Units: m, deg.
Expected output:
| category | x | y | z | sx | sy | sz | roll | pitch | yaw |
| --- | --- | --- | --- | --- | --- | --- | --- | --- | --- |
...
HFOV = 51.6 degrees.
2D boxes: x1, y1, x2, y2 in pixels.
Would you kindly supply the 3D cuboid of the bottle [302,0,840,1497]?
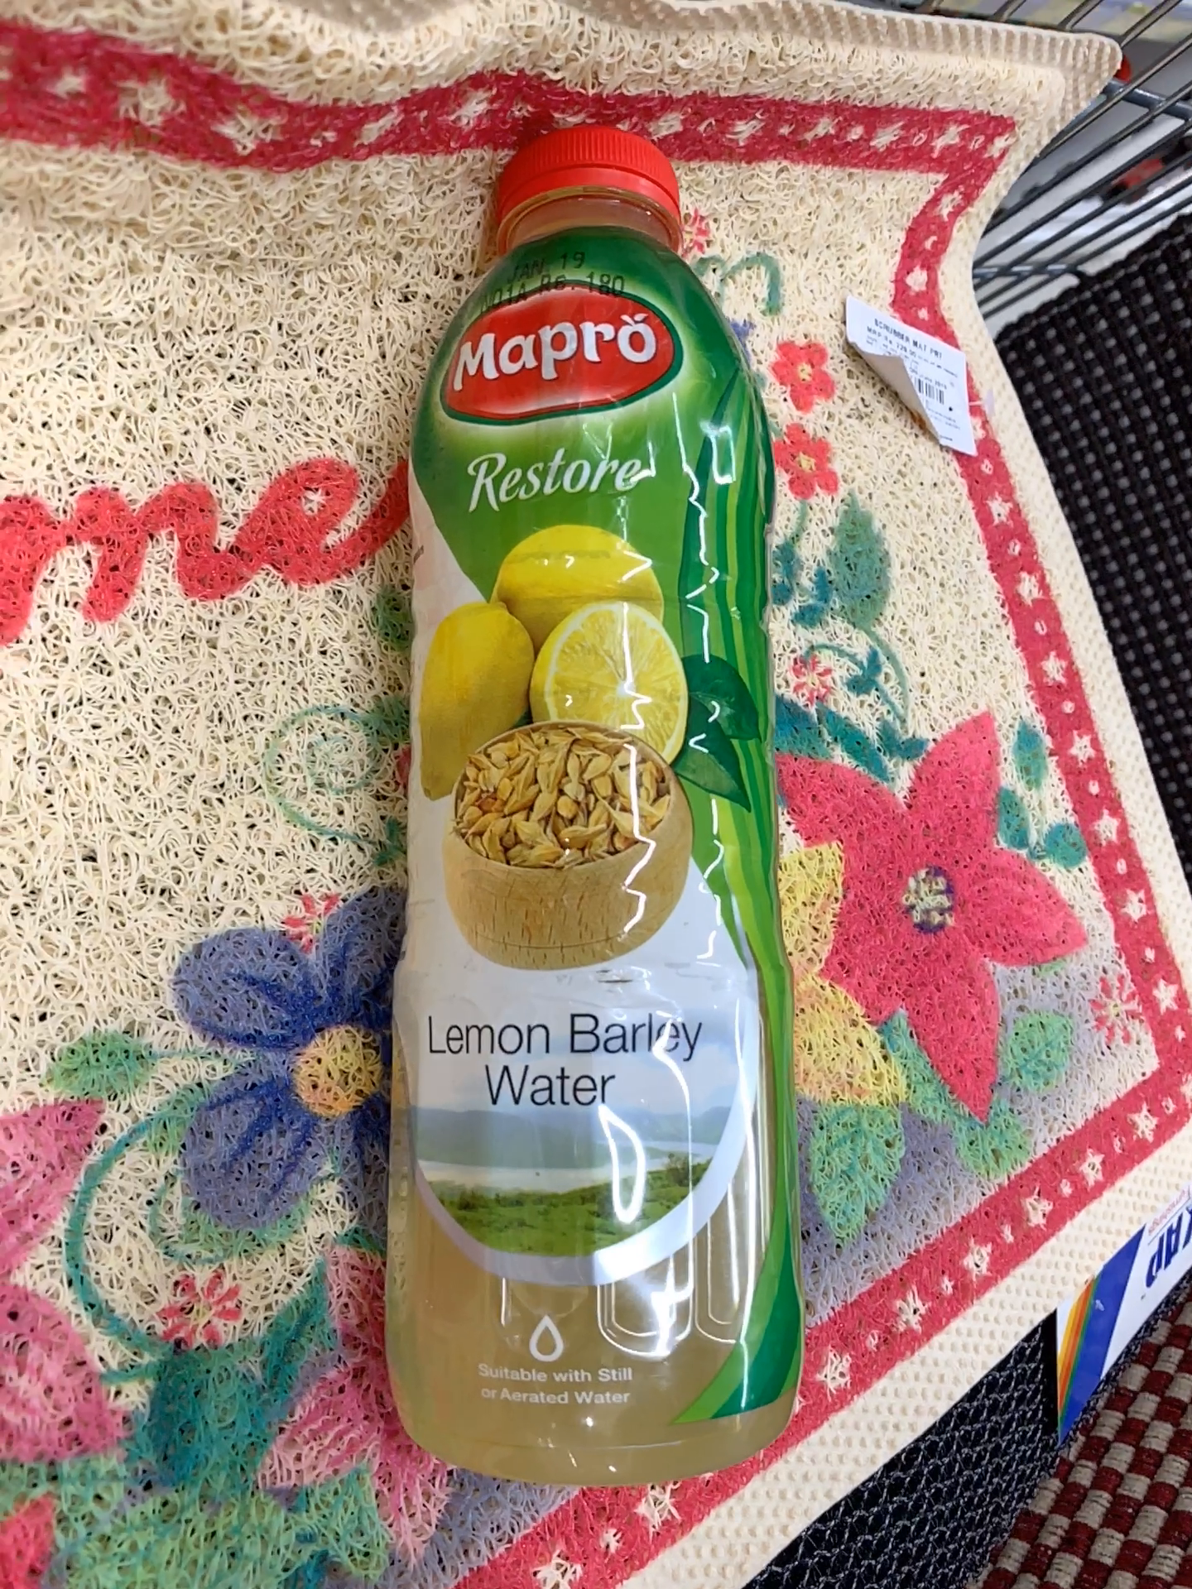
| category | x | y | z | sx | sy | sz | roll | pitch | yaw |
| --- | --- | --- | --- | --- | --- | --- | --- | --- | --- |
| bottle | -0.007 | -0.020 | 0.254 | 0.080 | 0.090 | 0.270 | -1 | 79 | -2 |
